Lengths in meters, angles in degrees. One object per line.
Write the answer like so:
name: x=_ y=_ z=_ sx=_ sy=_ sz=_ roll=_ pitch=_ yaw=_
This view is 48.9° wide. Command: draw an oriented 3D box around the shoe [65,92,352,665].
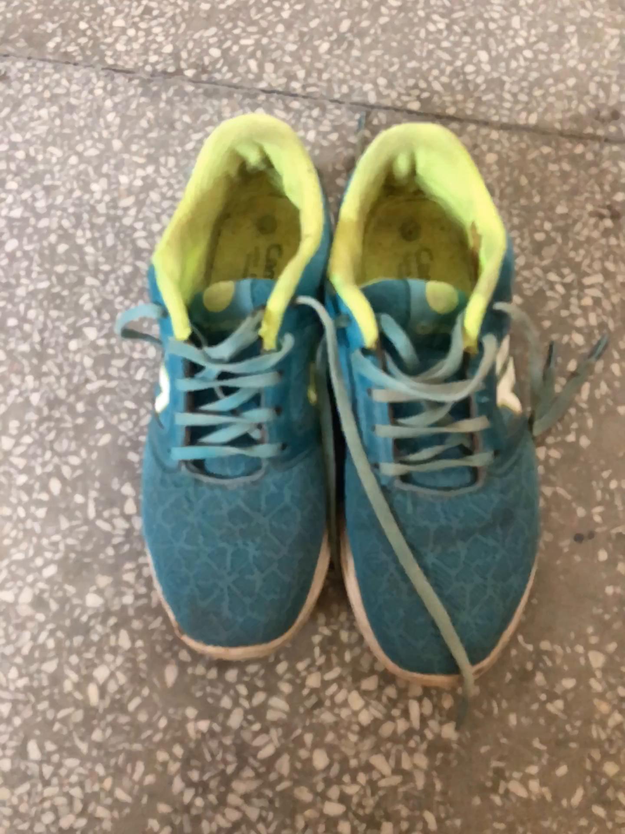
shoe: x=-0.033 y=-0.019 z=0.313 sx=0.090 sy=0.080 sz=0.240 roll=2 pitch=73 yaw=6

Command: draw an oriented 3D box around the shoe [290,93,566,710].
shoe: x=0.047 y=-0.009 z=0.315 sx=0.100 sy=0.080 sz=0.250 roll=0 pitch=79 yaw=5
